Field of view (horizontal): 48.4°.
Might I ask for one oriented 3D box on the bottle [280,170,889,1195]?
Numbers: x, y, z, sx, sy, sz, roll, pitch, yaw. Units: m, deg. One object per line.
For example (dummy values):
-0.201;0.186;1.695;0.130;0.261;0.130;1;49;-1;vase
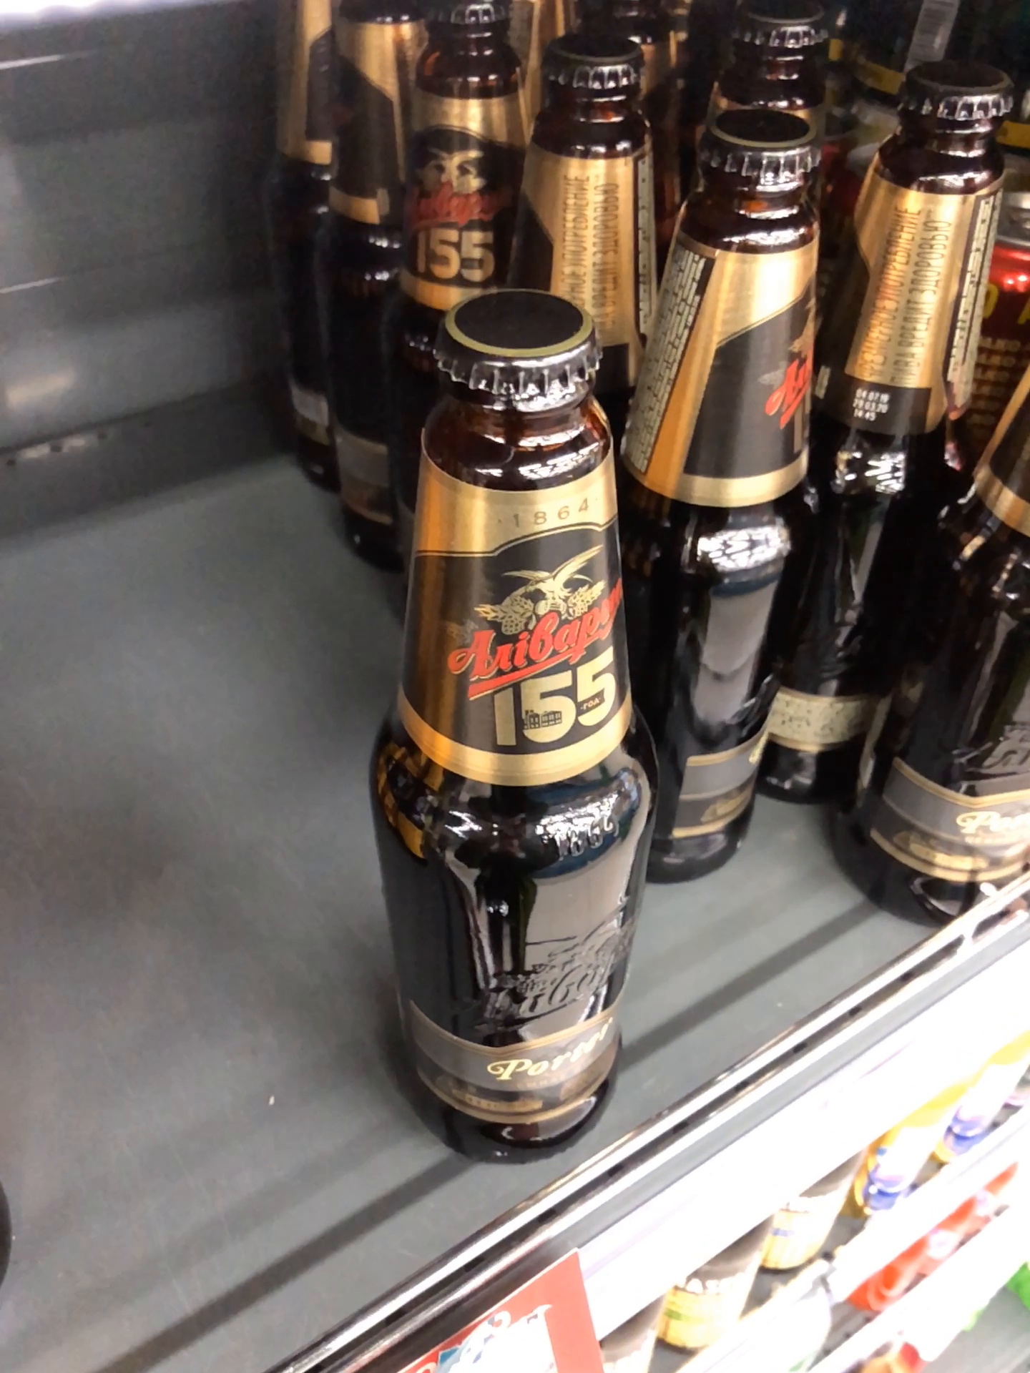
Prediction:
0.005;0.023;0.293;0.080;0.263;0.080;1;44;-1;bottle
